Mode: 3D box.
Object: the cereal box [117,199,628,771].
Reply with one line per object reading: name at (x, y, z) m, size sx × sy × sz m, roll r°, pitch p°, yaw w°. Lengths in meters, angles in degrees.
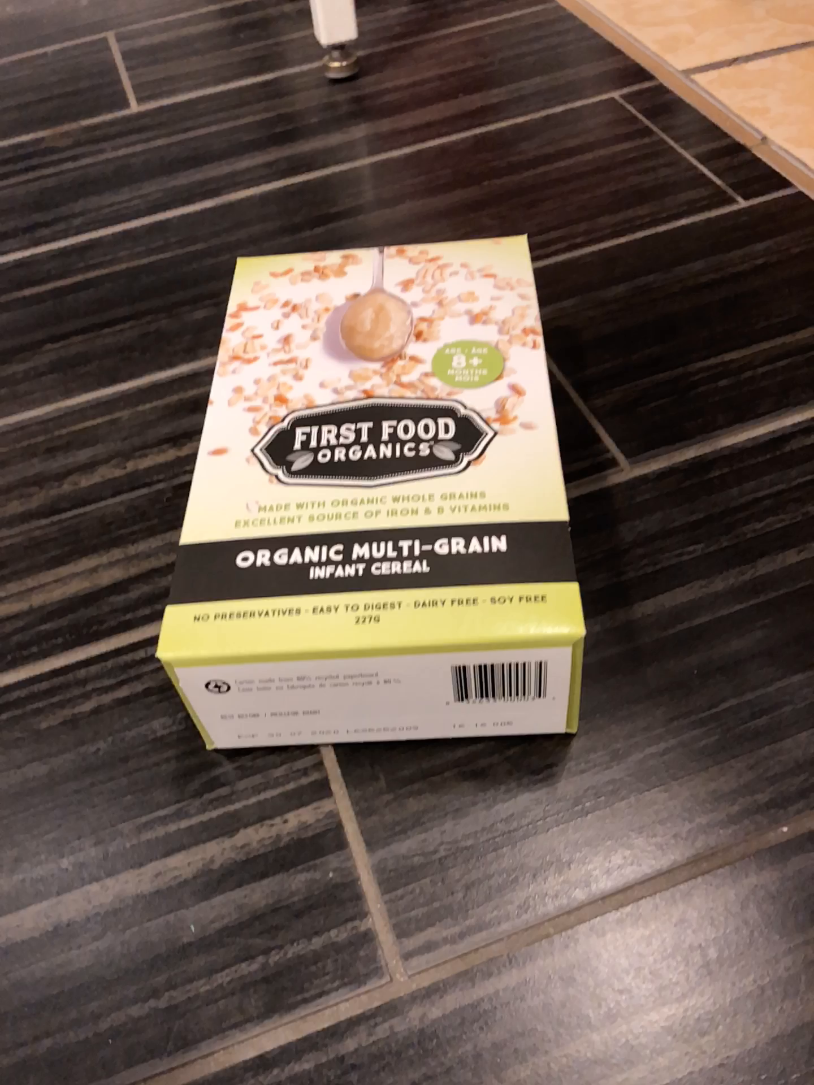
cereal box at (-0.011, -0.037, 0.344) m, size 0.140 × 0.060 × 0.231 m, roll -4°, pitch 49°, yaw 3°
